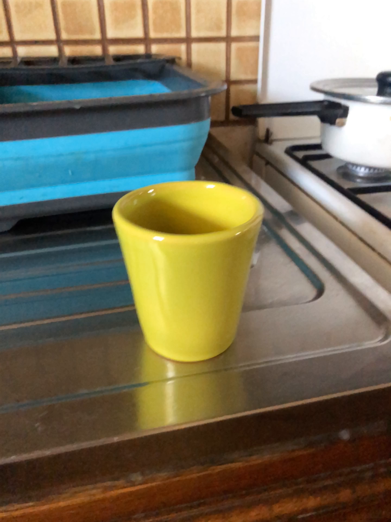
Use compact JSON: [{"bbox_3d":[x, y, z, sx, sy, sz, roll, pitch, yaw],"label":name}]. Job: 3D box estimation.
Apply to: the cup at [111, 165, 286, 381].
[{"bbox_3d":[-0.004,0.002,0.252,0.080,0.089,0.080,0,29,0],"label":"cup"}]
